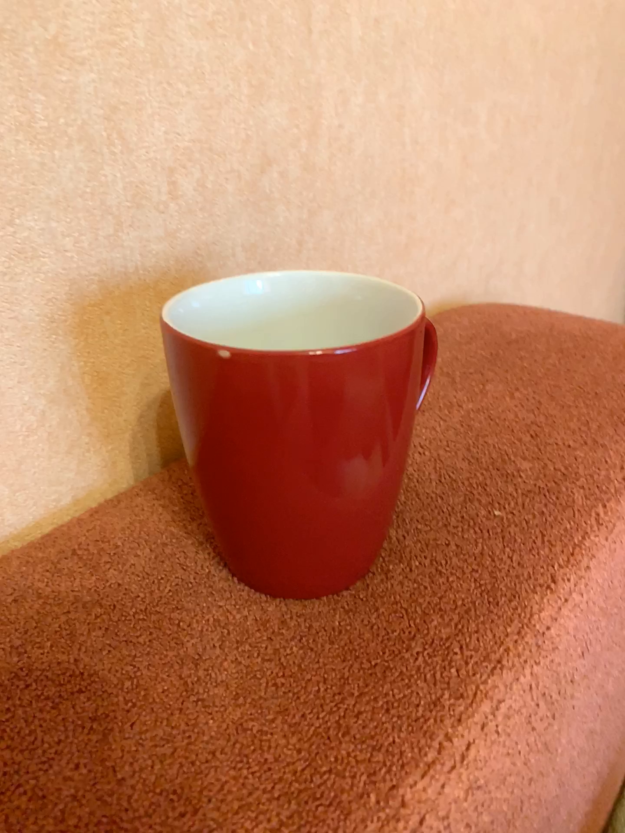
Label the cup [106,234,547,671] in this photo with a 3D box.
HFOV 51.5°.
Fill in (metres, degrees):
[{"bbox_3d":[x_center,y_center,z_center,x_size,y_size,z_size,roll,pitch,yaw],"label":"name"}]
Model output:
[{"bbox_3d":[0.010,-0.001,0.231,0.083,0.091,0.122,24,38,37],"label":"cup"}]
